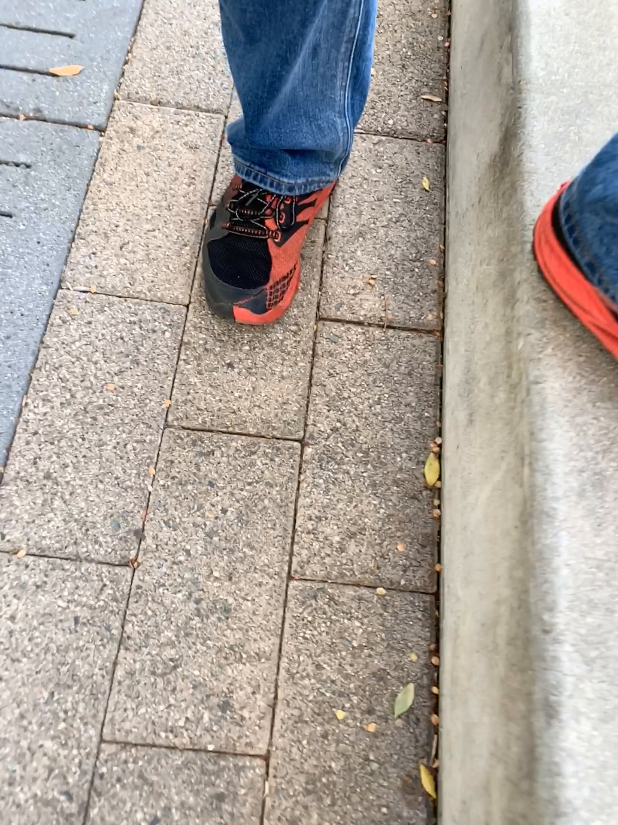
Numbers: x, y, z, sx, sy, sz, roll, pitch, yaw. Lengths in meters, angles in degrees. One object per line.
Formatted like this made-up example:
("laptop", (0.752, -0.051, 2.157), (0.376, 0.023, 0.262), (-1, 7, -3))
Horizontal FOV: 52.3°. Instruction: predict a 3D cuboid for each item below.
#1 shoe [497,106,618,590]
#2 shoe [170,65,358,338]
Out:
("shoe", (0.277, -0.055, 0.432), (0.122, 0.080, 0.310), (-23, 71, -15))
("shoe", (-0.045, -0.252, 0.736), (0.136, 0.080, 0.306), (14, 66, 0))
